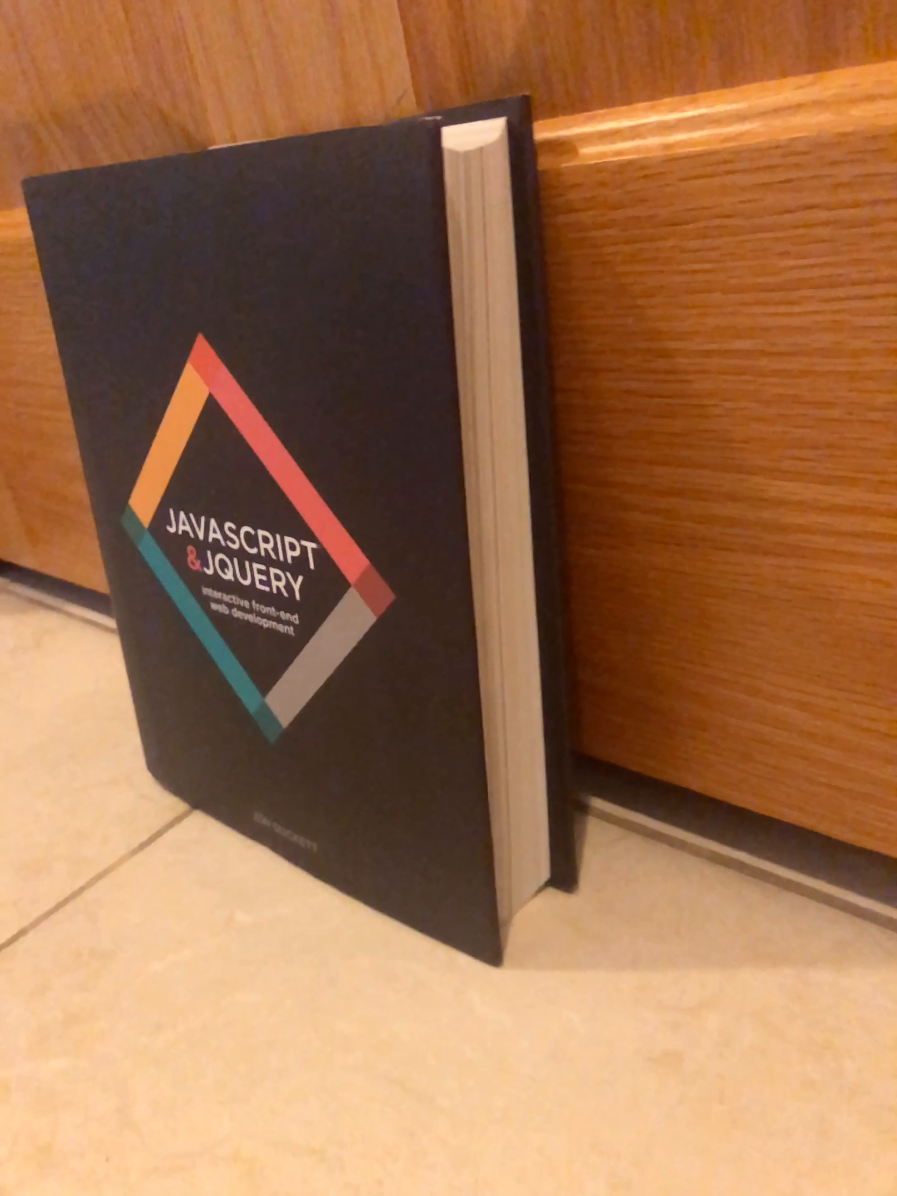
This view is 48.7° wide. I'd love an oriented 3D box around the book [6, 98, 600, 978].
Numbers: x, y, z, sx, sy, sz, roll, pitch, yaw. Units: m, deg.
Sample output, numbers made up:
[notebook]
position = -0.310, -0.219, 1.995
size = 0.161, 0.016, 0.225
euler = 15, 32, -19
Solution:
[book]
position = -0.051, -0.026, 0.341
size = 0.200, 0.237, 0.060
euler = 14, 27, 41
